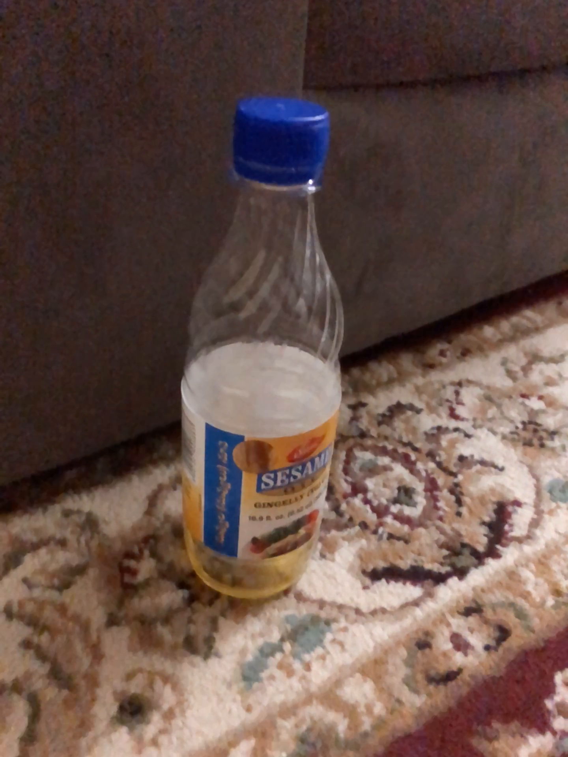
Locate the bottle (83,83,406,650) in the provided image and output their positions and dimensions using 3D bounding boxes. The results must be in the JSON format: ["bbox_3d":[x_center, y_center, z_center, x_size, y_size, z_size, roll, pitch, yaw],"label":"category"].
[{"bbox_3d":[-0.017,0.002,0.245,0.070,0.199,0.070,2,34,-1],"label":"bottle"}]
